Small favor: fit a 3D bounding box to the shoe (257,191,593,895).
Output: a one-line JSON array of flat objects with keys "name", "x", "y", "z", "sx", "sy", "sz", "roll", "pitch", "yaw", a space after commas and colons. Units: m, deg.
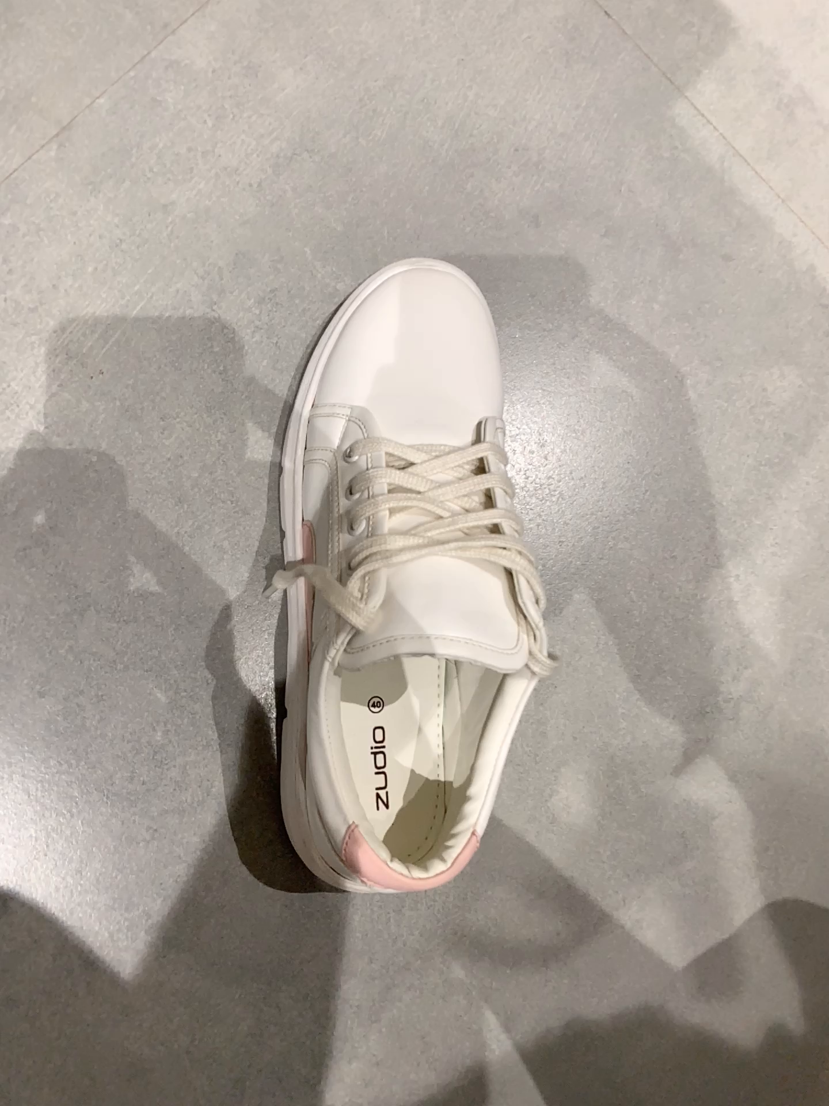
[{"name": "shoe", "x": 0.001, "y": 0.000, "z": 0.357, "sx": 0.110, "sy": 0.100, "sz": 0.250, "roll": 4, "pitch": 82, "yaw": -13}]
